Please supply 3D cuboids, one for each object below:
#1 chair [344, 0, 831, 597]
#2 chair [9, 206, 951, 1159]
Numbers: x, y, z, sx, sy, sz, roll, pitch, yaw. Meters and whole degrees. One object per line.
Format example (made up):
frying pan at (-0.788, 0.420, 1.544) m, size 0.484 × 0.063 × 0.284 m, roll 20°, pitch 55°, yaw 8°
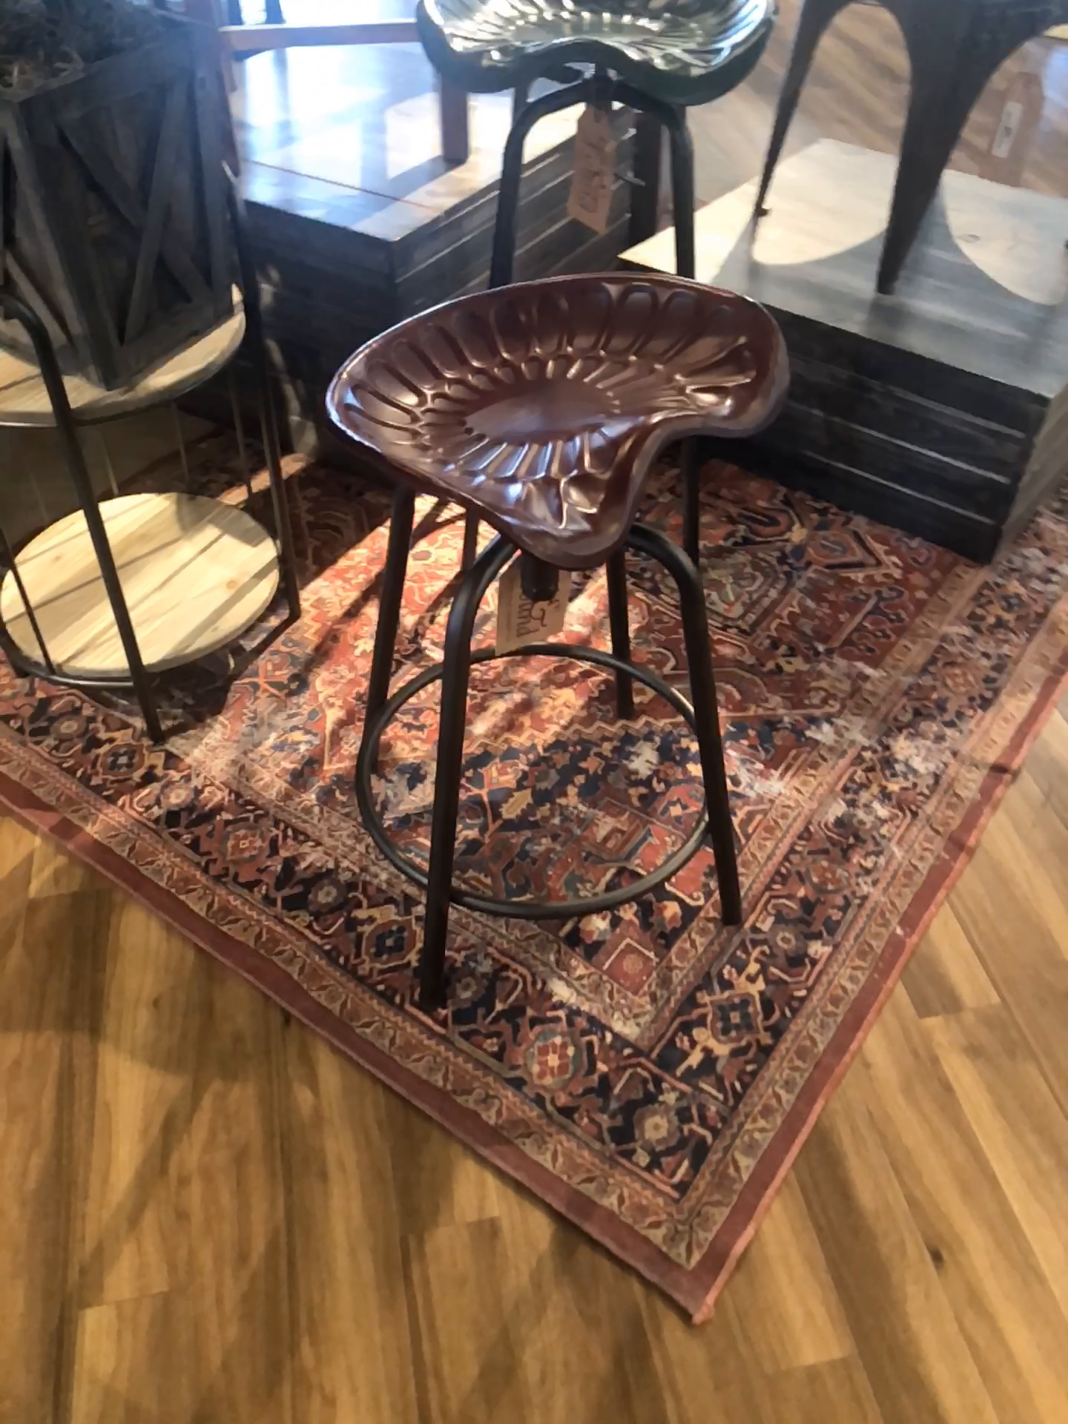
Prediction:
chair at (0.051, -0.655, 1.764) m, size 0.537 × 0.736 × 0.613 m, roll 0°, pitch 44°, yaw -1°
chair at (-0.019, -0.056, 1.228) m, size 0.610 × 0.627 × 0.569 m, roll 21°, pitch 48°, yaw 19°
